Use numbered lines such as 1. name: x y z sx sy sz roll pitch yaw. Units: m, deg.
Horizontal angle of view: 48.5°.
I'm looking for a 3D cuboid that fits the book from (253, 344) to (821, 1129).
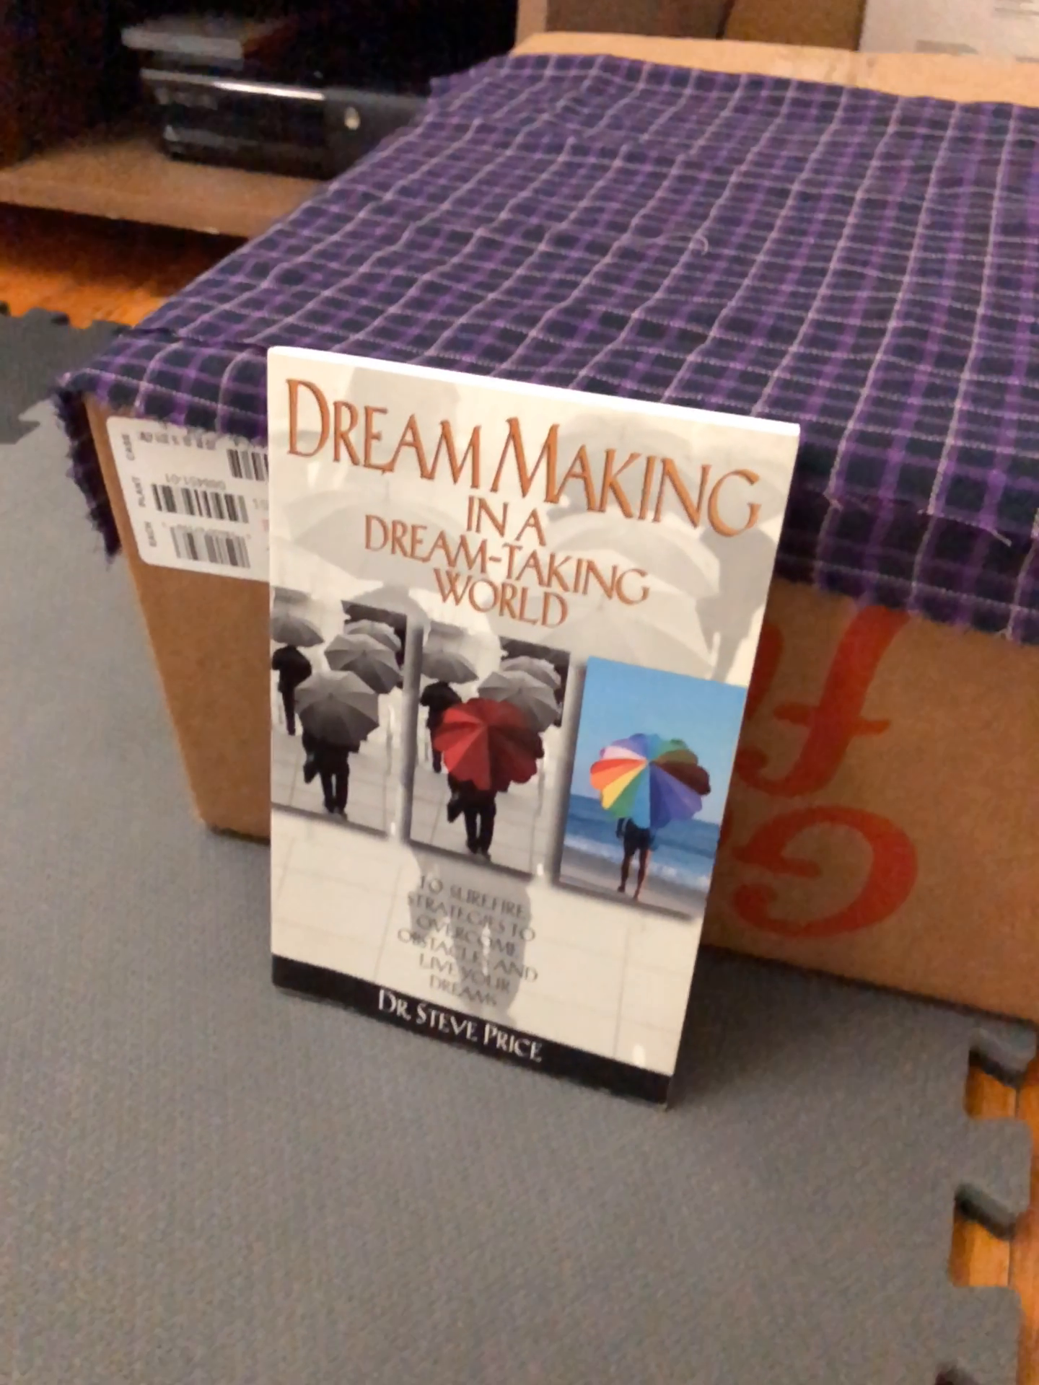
1. book: -0.007 0.019 0.347 0.150 0.219 0.020 13 27 17
